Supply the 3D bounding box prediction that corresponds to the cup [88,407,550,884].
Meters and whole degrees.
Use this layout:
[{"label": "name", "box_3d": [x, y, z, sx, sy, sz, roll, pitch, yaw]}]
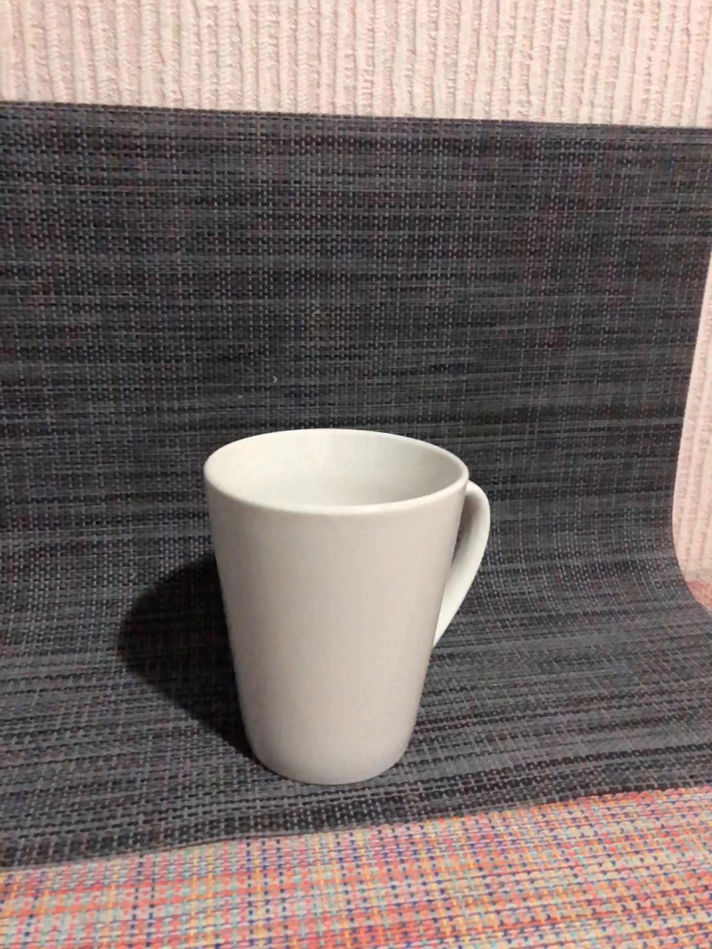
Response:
[{"label": "cup", "box_3d": [-0.013, 0.041, 0.265, 0.112, 0.096, 0.096, -14, 23, -39]}]
